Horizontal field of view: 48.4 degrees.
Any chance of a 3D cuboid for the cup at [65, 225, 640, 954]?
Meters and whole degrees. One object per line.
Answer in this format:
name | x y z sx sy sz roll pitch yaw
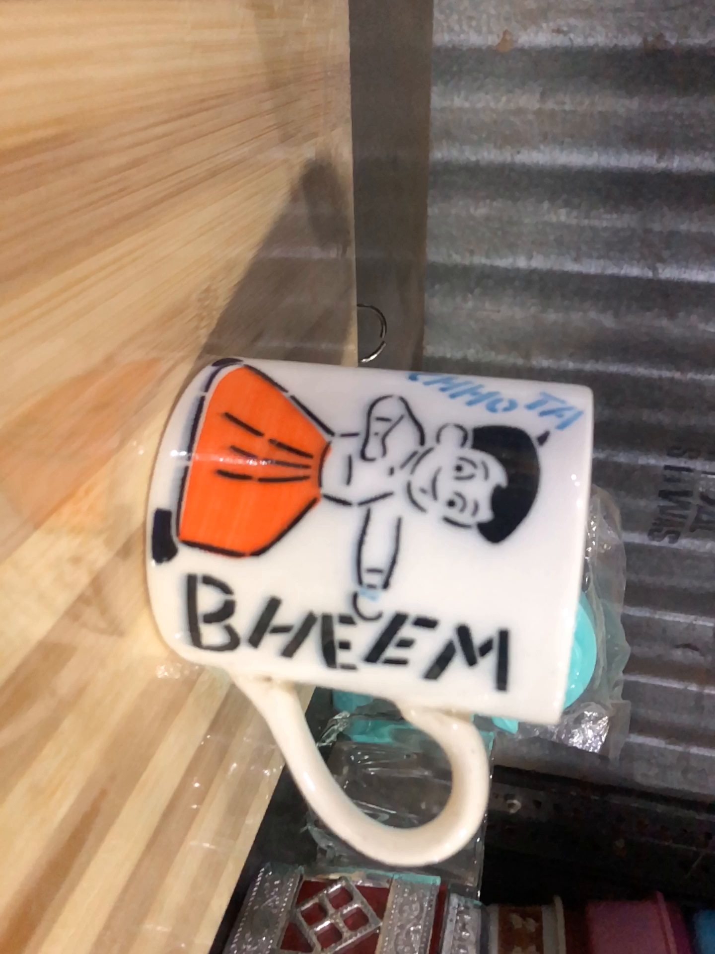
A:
cup | 0.008 0.024 0.178 0.100 0.080 0.120 32 65 -77
